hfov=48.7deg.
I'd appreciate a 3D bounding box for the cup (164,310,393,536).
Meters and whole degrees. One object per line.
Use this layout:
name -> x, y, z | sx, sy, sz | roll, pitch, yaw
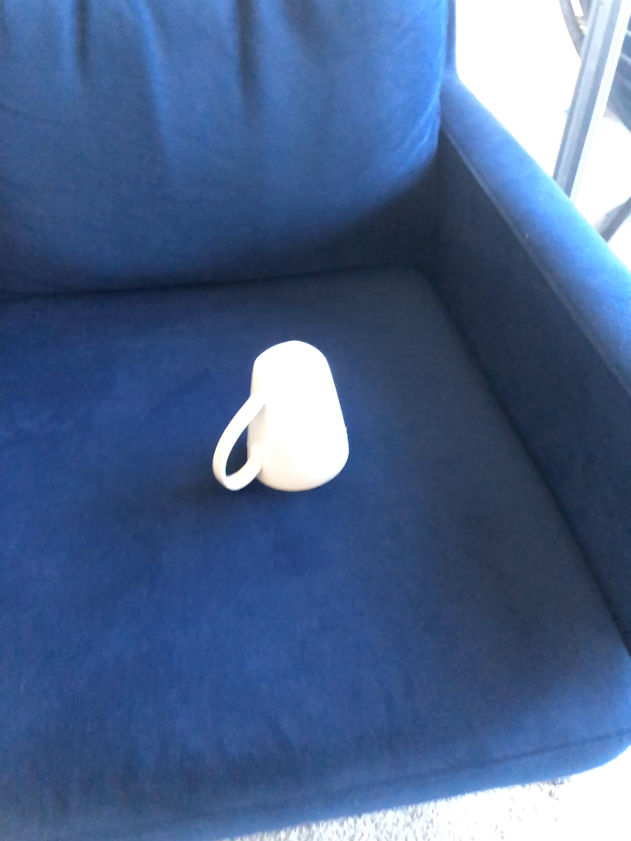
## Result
cup -> -0.028, -0.003, 0.596 | 0.150, 0.090, 0.110 | -33, 53, -29
